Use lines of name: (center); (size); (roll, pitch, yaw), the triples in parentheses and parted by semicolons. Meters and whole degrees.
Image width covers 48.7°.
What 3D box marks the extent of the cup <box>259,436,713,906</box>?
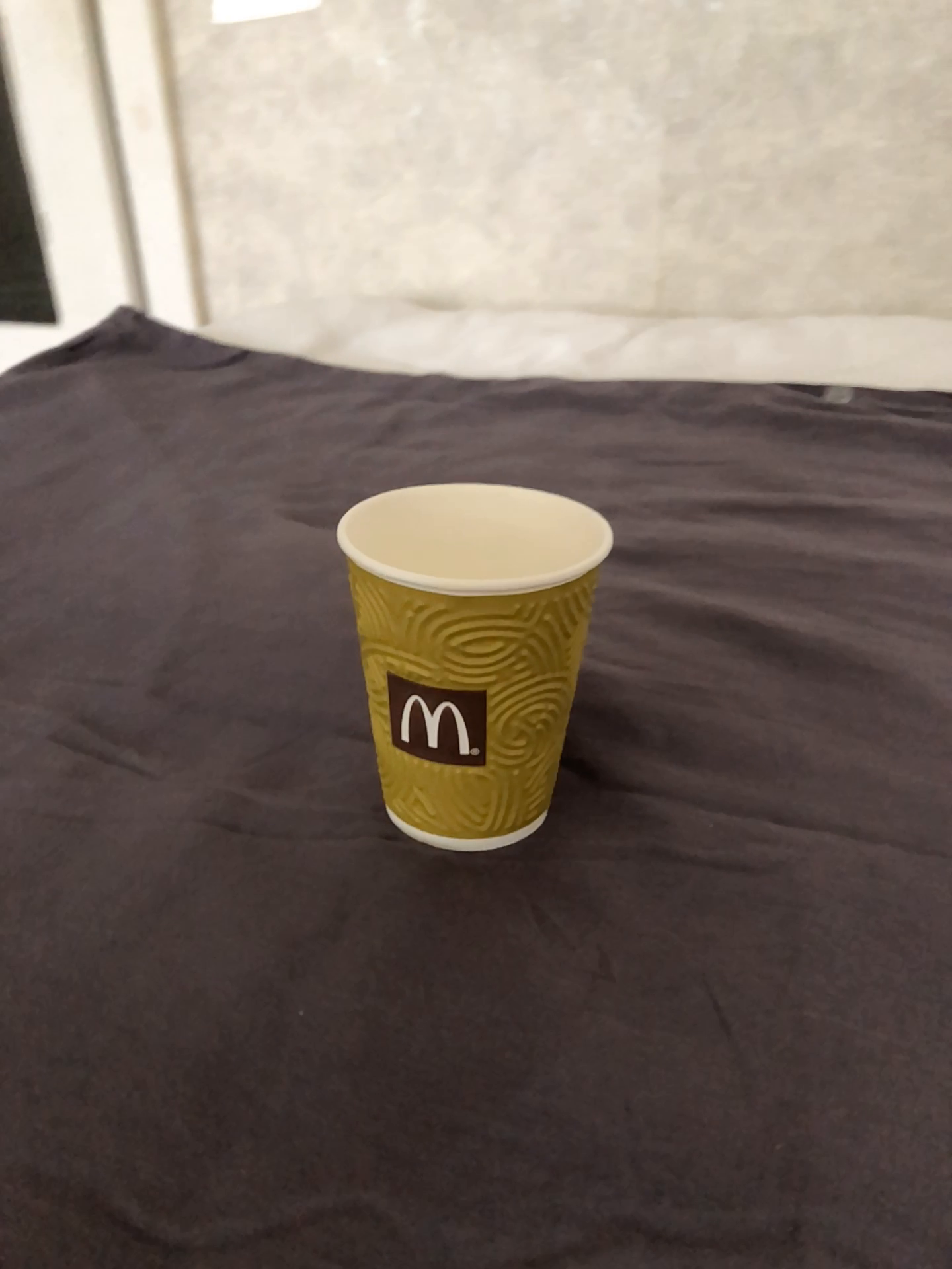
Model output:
cup: (0.006, 0.003, 0.347); (0.107, 0.101, 0.099); (1, 26, -1)
